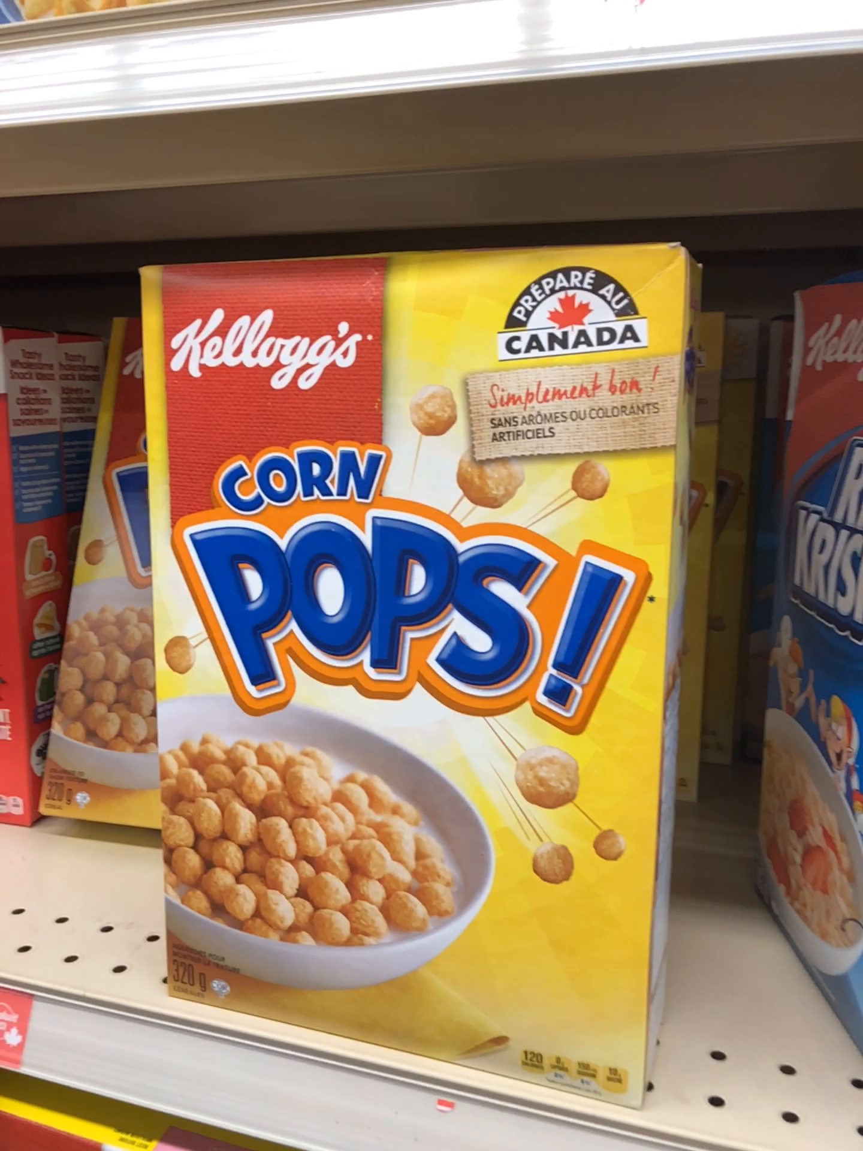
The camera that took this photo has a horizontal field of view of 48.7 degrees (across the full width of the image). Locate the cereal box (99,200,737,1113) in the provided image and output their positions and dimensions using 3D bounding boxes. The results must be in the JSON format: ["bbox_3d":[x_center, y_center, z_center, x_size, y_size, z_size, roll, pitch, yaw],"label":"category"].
[{"bbox_3d":[-0.007,0.025,0.354,0.210,0.289,0.060,4,12,19],"label":"cereal box"}]
